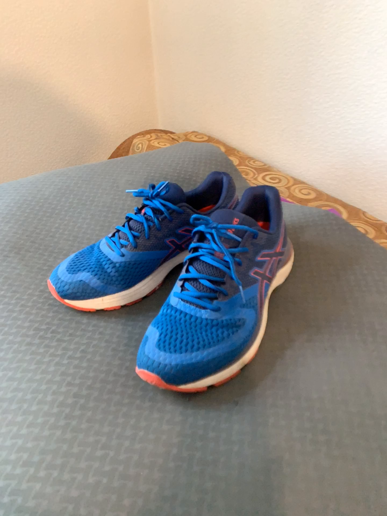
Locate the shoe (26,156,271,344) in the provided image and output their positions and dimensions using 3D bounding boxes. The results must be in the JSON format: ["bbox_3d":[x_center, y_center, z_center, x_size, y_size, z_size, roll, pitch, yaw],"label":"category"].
[{"bbox_3d":[-0.048,-0.028,0.549,0.300,0.109,0.121,-26,45,-26],"label":"shoe"}]

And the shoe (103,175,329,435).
[{"bbox_3d":[0.047,0.027,0.472,0.120,0.109,0.301,20,45,24],"label":"shoe"}]
